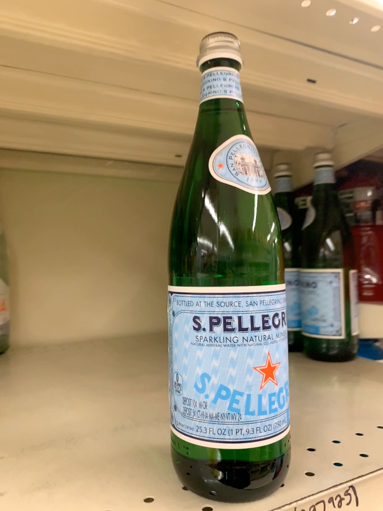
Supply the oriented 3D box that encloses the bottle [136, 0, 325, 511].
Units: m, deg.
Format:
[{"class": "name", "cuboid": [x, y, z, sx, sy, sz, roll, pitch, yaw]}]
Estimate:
[{"class": "bottle", "cuboid": [0.021, -0.006, 0.267, 0.090, 0.290, 0.090, 0, 0, 0]}]
